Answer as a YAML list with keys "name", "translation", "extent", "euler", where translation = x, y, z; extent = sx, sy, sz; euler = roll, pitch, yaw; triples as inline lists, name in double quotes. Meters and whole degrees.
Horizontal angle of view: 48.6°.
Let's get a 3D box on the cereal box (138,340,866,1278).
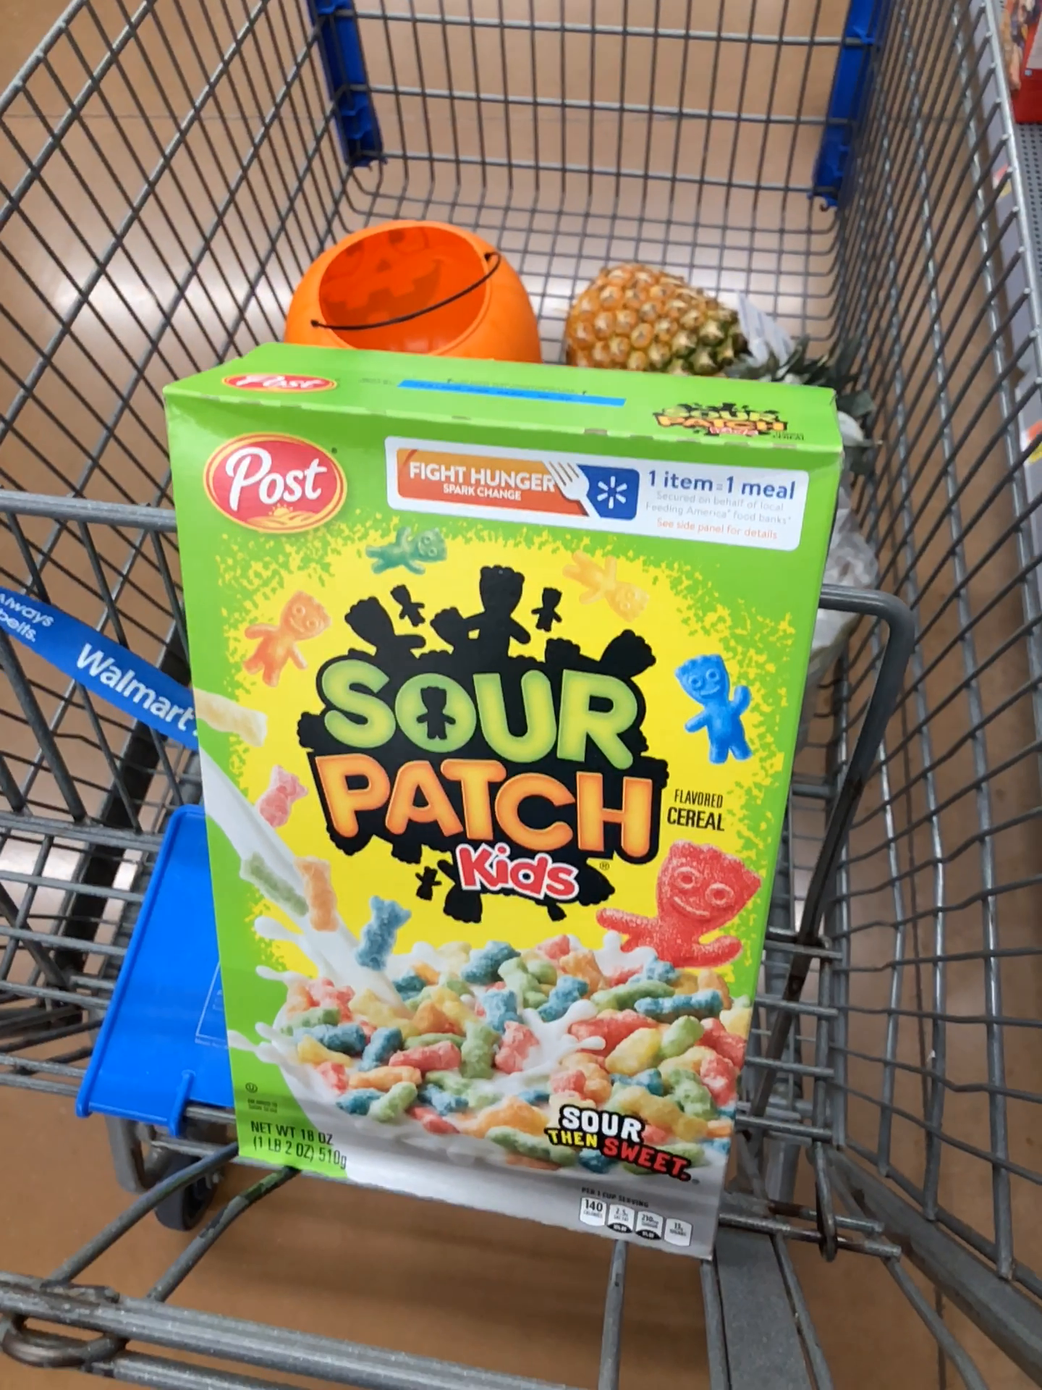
- name: "cereal box"
  translation: [-0.006, 0.050, 0.417]
  extent: [0.200, 0.320, 0.080]
  euler: [7, 27, 10]
